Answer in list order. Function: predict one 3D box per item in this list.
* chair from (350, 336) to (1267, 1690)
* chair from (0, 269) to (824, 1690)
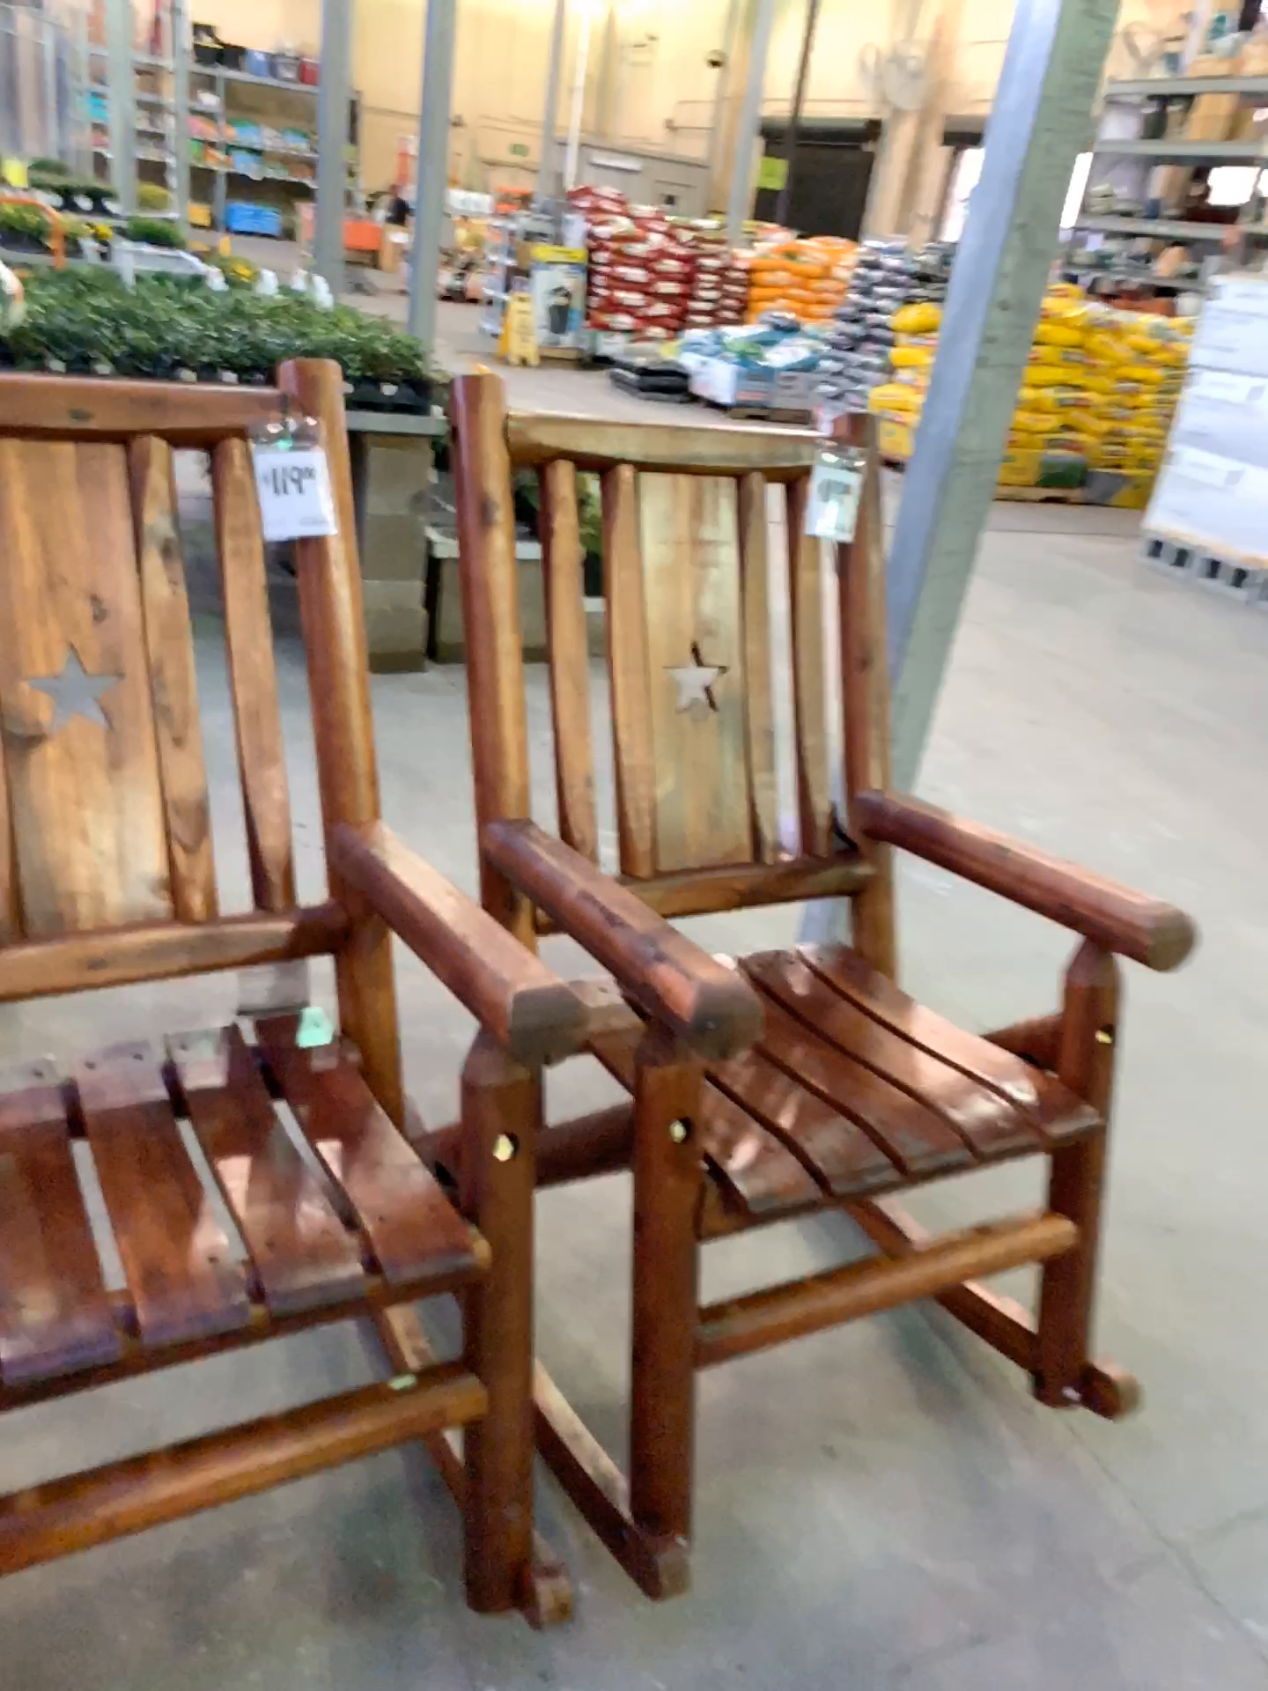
[{"bbox_3d":[0.147,0.085,1.606,0.673,1.157,1.022,-5,29,-28],"label":"chair"},{"bbox_3d":[-0.492,0.151,1.270,0.673,1.157,1.022,-5,29,-27],"label":"chair"}]
